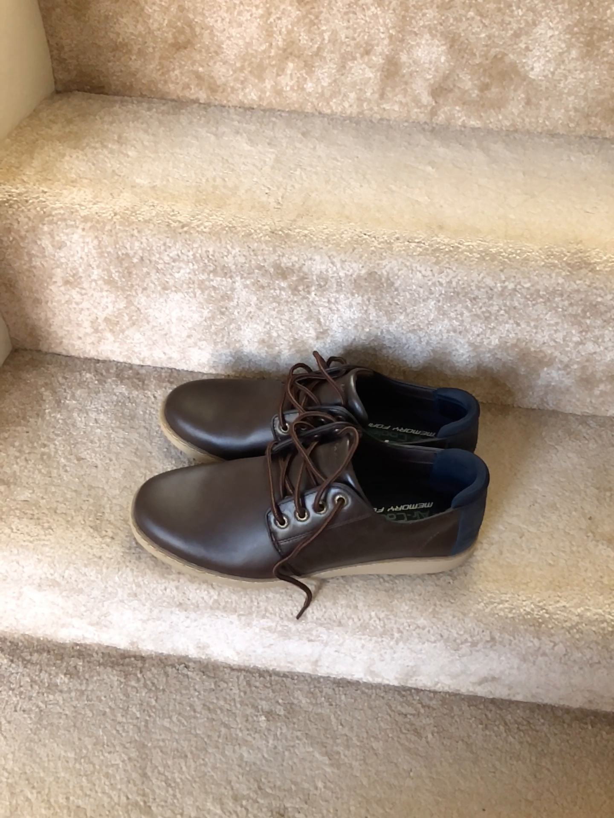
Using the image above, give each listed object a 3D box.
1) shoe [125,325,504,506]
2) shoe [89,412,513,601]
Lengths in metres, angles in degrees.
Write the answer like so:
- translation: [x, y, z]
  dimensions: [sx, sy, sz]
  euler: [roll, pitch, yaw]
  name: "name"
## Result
- translation: [0.007, 0.004, 0.604]
  dimensions: [0.300, 0.089, 0.111]
  euler: [4, 46, 2]
  name: "shoe"
- translation: [-0.004, 0.078, 0.548]
  dimensions: [0.300, 0.089, 0.111]
  euler: [2, 46, 0]
  name: "shoe"
